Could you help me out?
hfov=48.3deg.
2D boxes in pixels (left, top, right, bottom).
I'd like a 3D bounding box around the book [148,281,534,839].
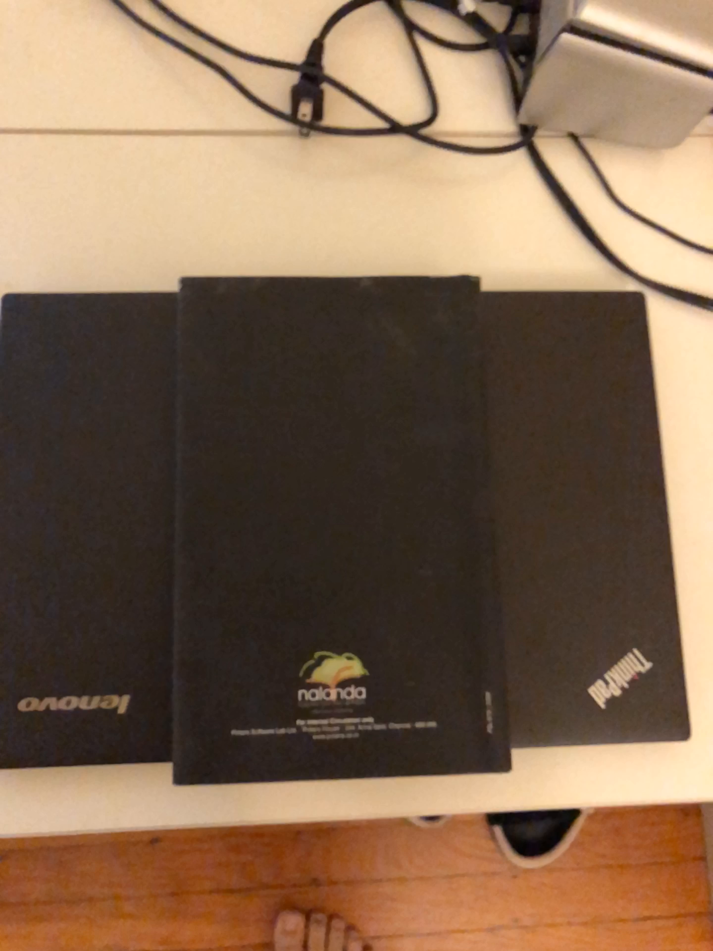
[{"bbox_3d":[-0.010,0.029,0.354,0.150,0.040,0.230,-1,77,-3],"label":"book"}]
